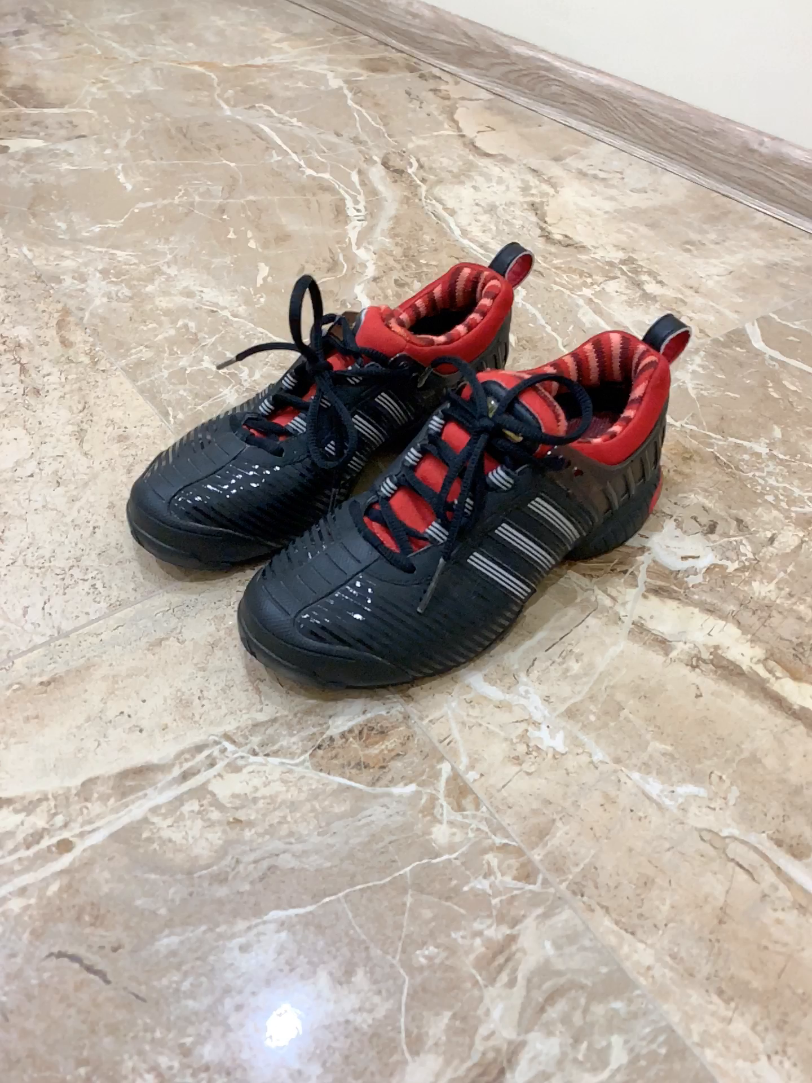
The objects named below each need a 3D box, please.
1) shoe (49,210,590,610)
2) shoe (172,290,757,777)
[{"bbox_3d":[-0.033,-0.086,0.454,0.271,0.090,0.096,-31,54,-29],"label":"shoe"},{"bbox_3d":[0.039,-0.021,0.402,0.271,0.090,0.096,-31,54,-29],"label":"shoe"}]
